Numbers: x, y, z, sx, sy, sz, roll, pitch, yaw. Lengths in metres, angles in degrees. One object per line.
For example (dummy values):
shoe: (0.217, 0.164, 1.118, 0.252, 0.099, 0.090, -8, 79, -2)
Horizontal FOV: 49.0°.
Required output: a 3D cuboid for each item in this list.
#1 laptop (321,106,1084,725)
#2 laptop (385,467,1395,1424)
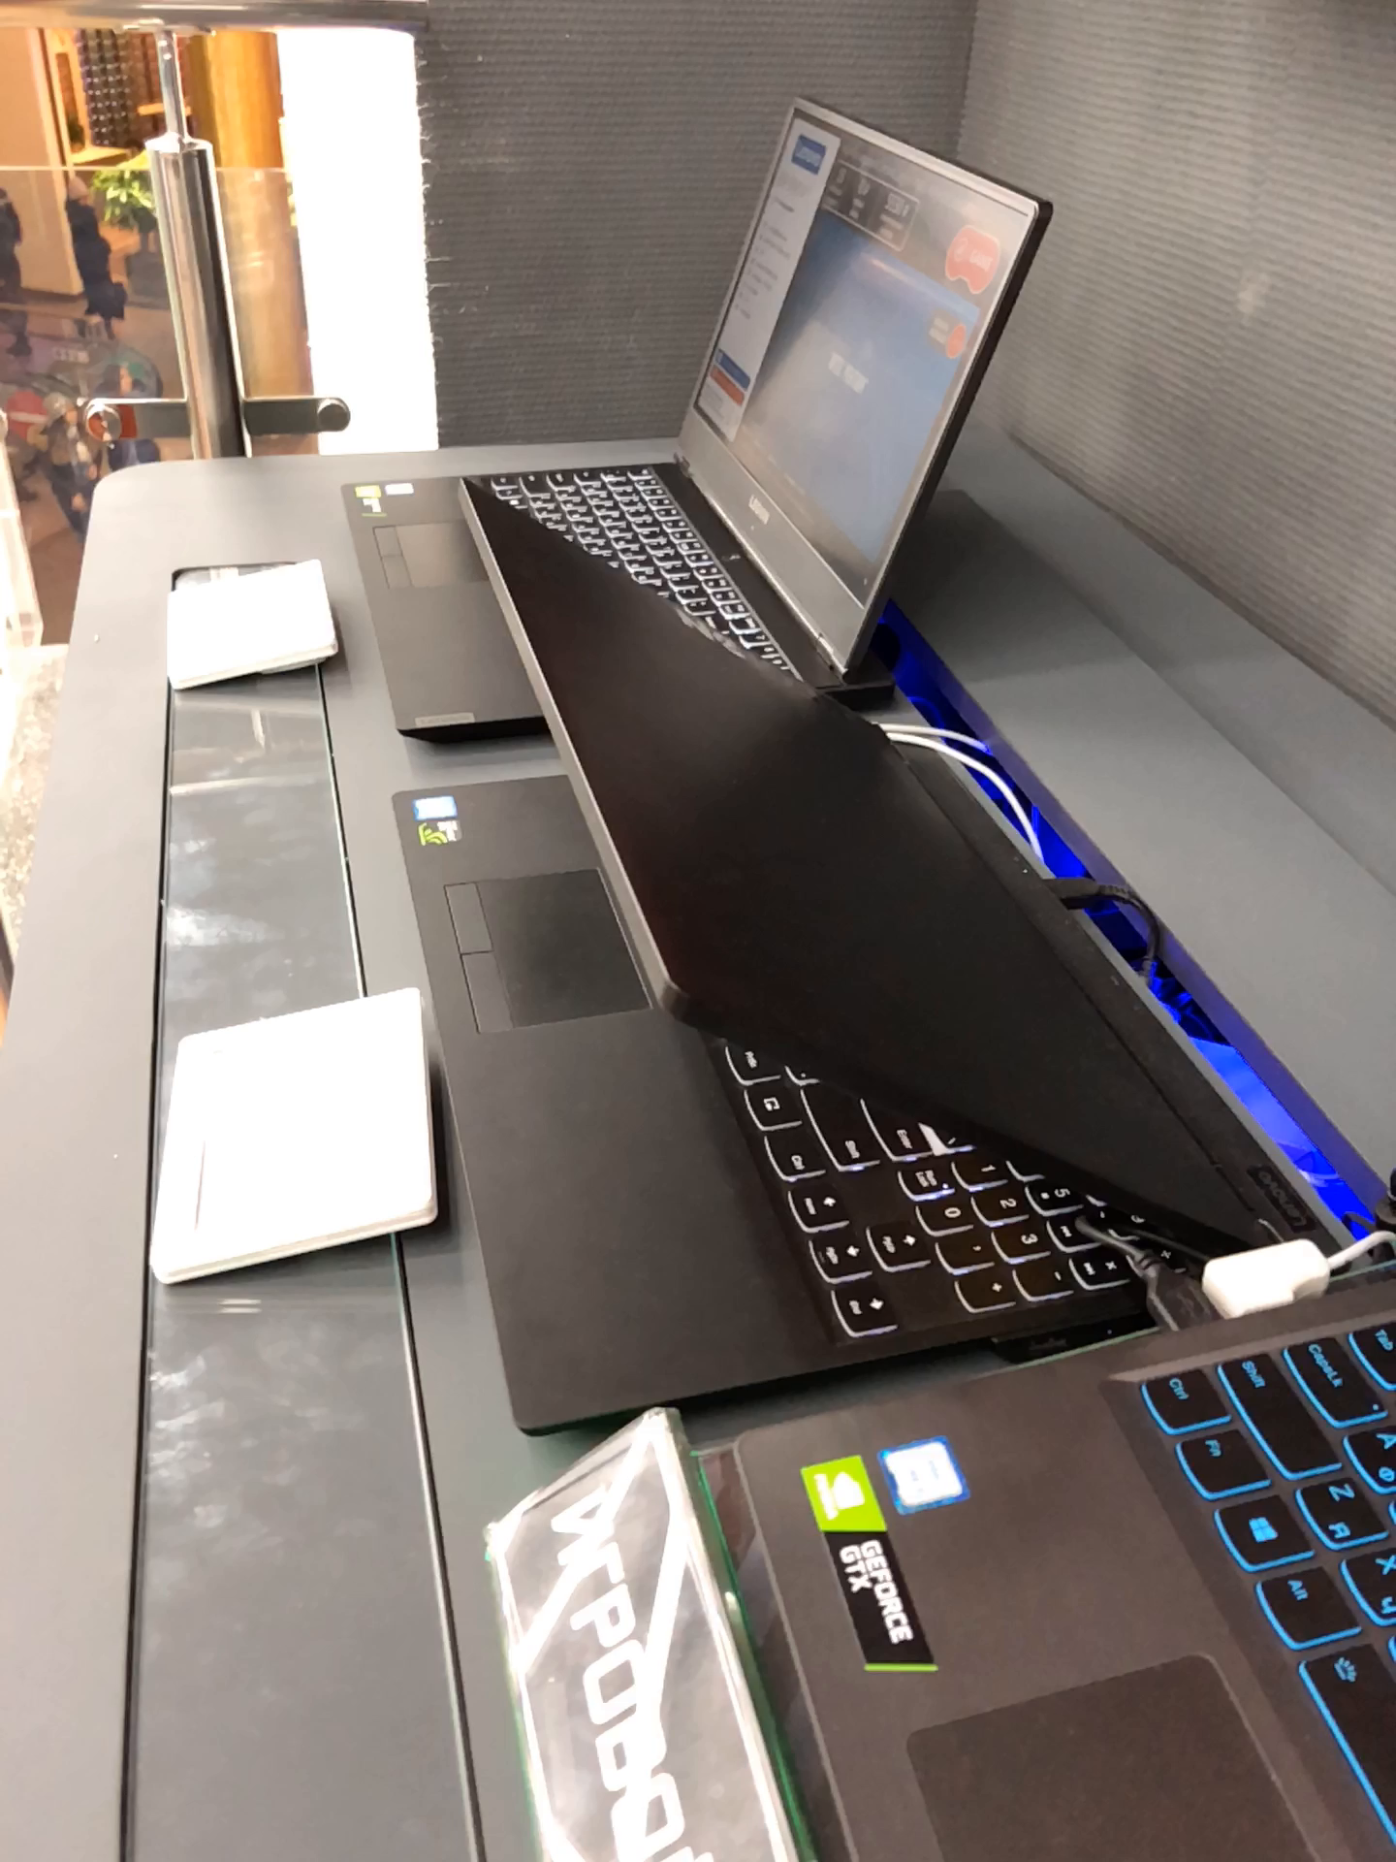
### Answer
laptop: (-0.034, -0.314, 0.870, 0.307, 0.231, 0.366, -7, 35, -11)
laptop: (0.023, -0.034, 0.546, 0.227, 0.136, 0.355, -7, 36, -12)
